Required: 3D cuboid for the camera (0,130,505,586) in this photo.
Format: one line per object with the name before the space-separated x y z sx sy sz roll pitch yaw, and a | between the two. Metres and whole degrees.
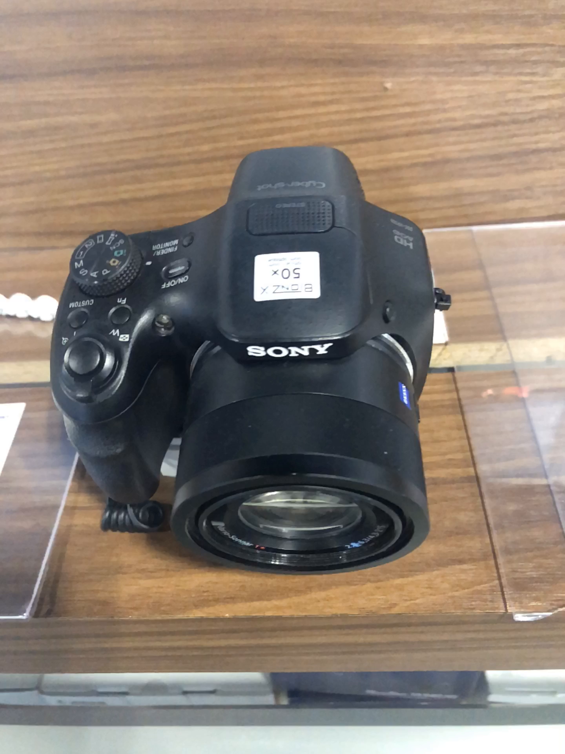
camera | -0.013 -0.007 0.196 0.125 0.084 0.110 -2 46 5
